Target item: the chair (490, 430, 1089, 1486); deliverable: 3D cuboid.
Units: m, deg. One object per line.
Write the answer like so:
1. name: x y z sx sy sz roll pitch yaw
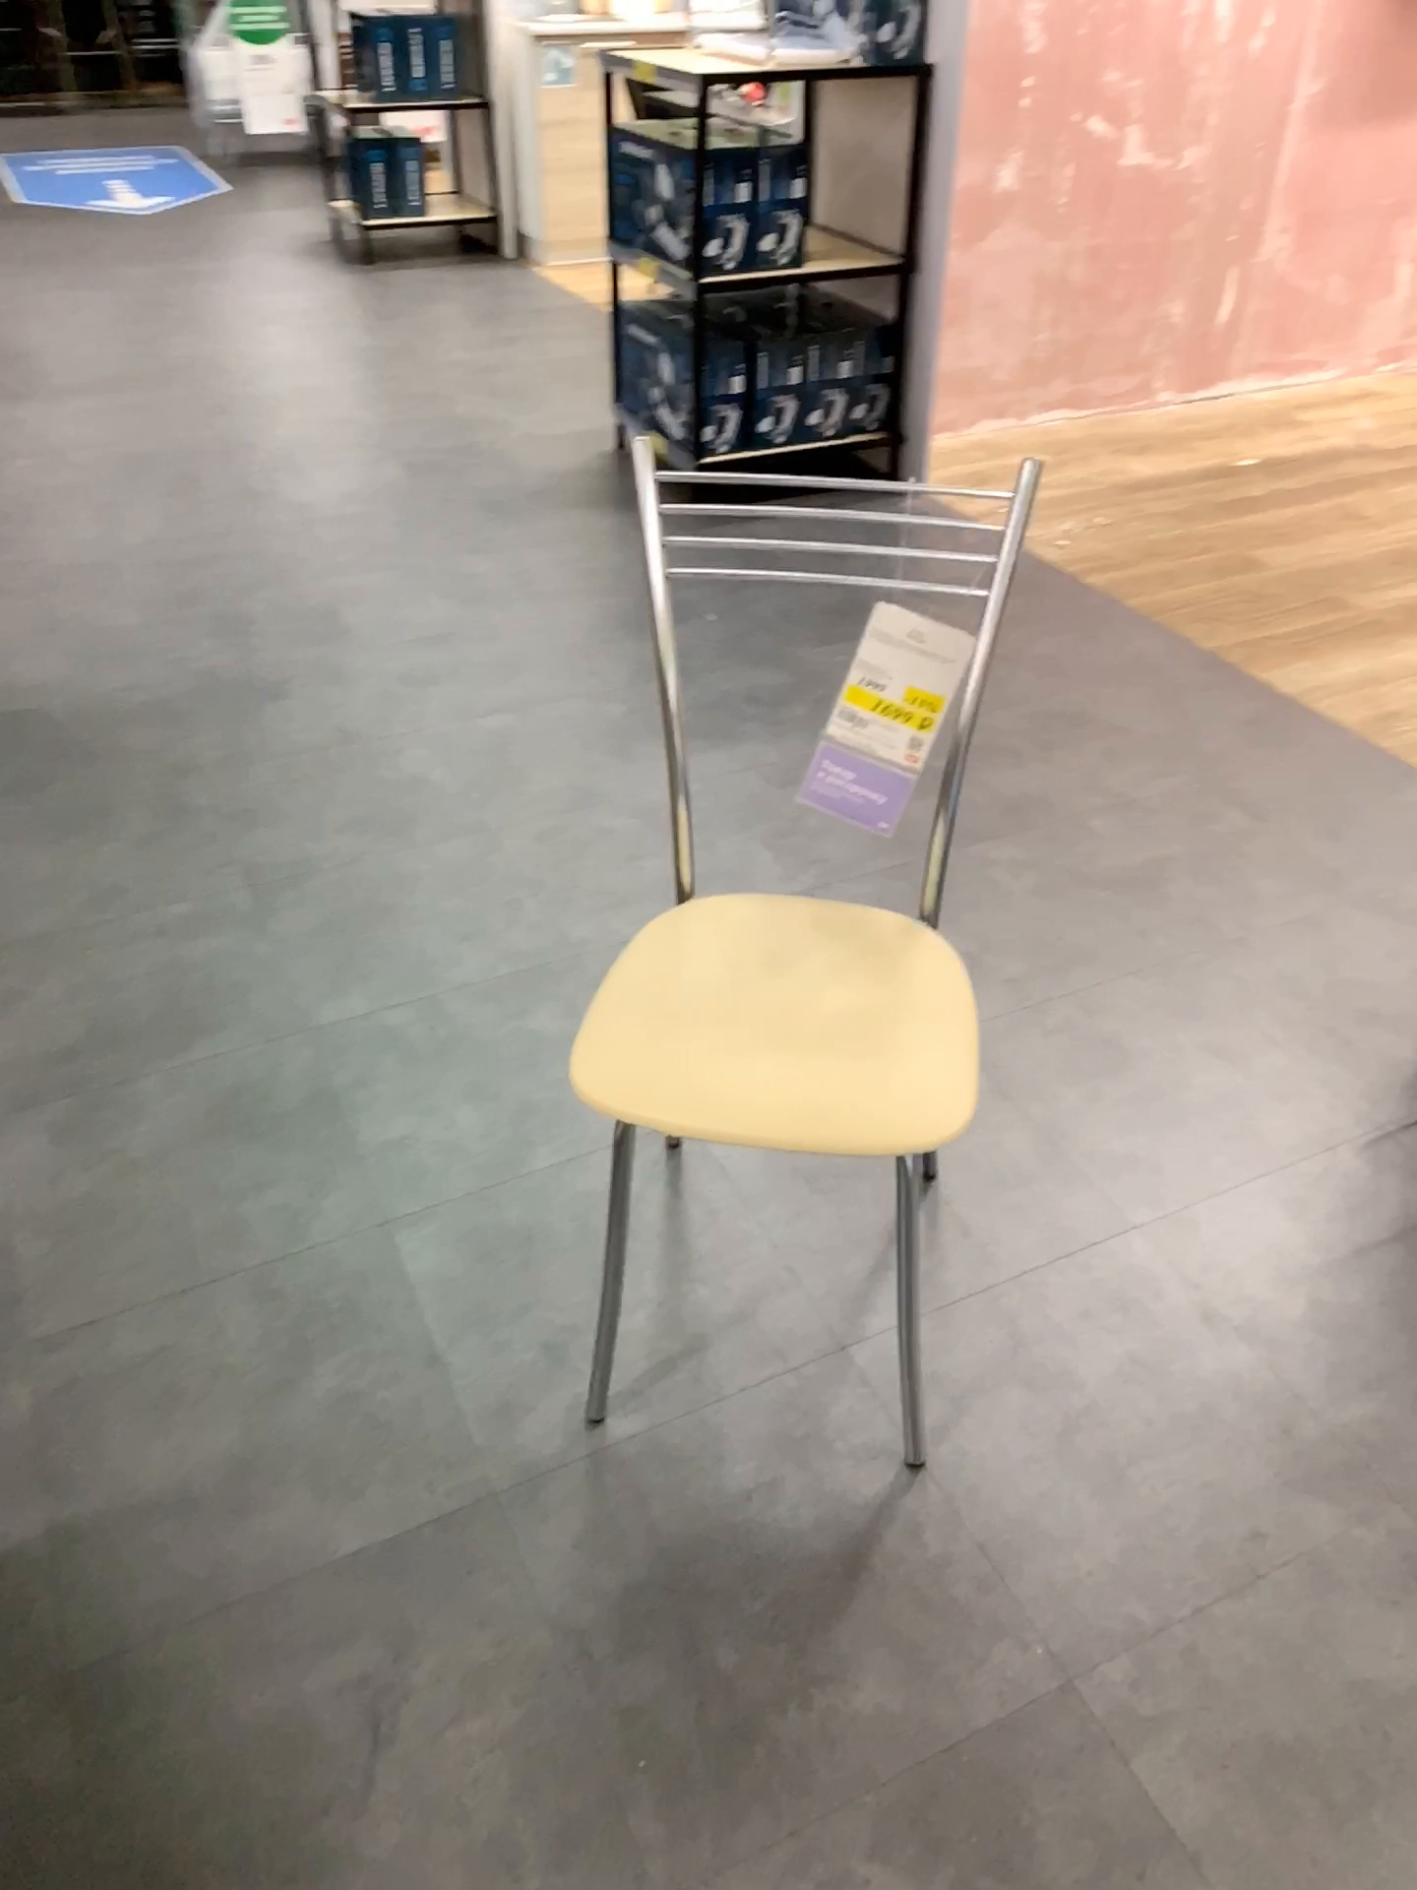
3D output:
1. chair: 0.082 0.029 1.441 0.410 0.905 0.483 5 36 7
